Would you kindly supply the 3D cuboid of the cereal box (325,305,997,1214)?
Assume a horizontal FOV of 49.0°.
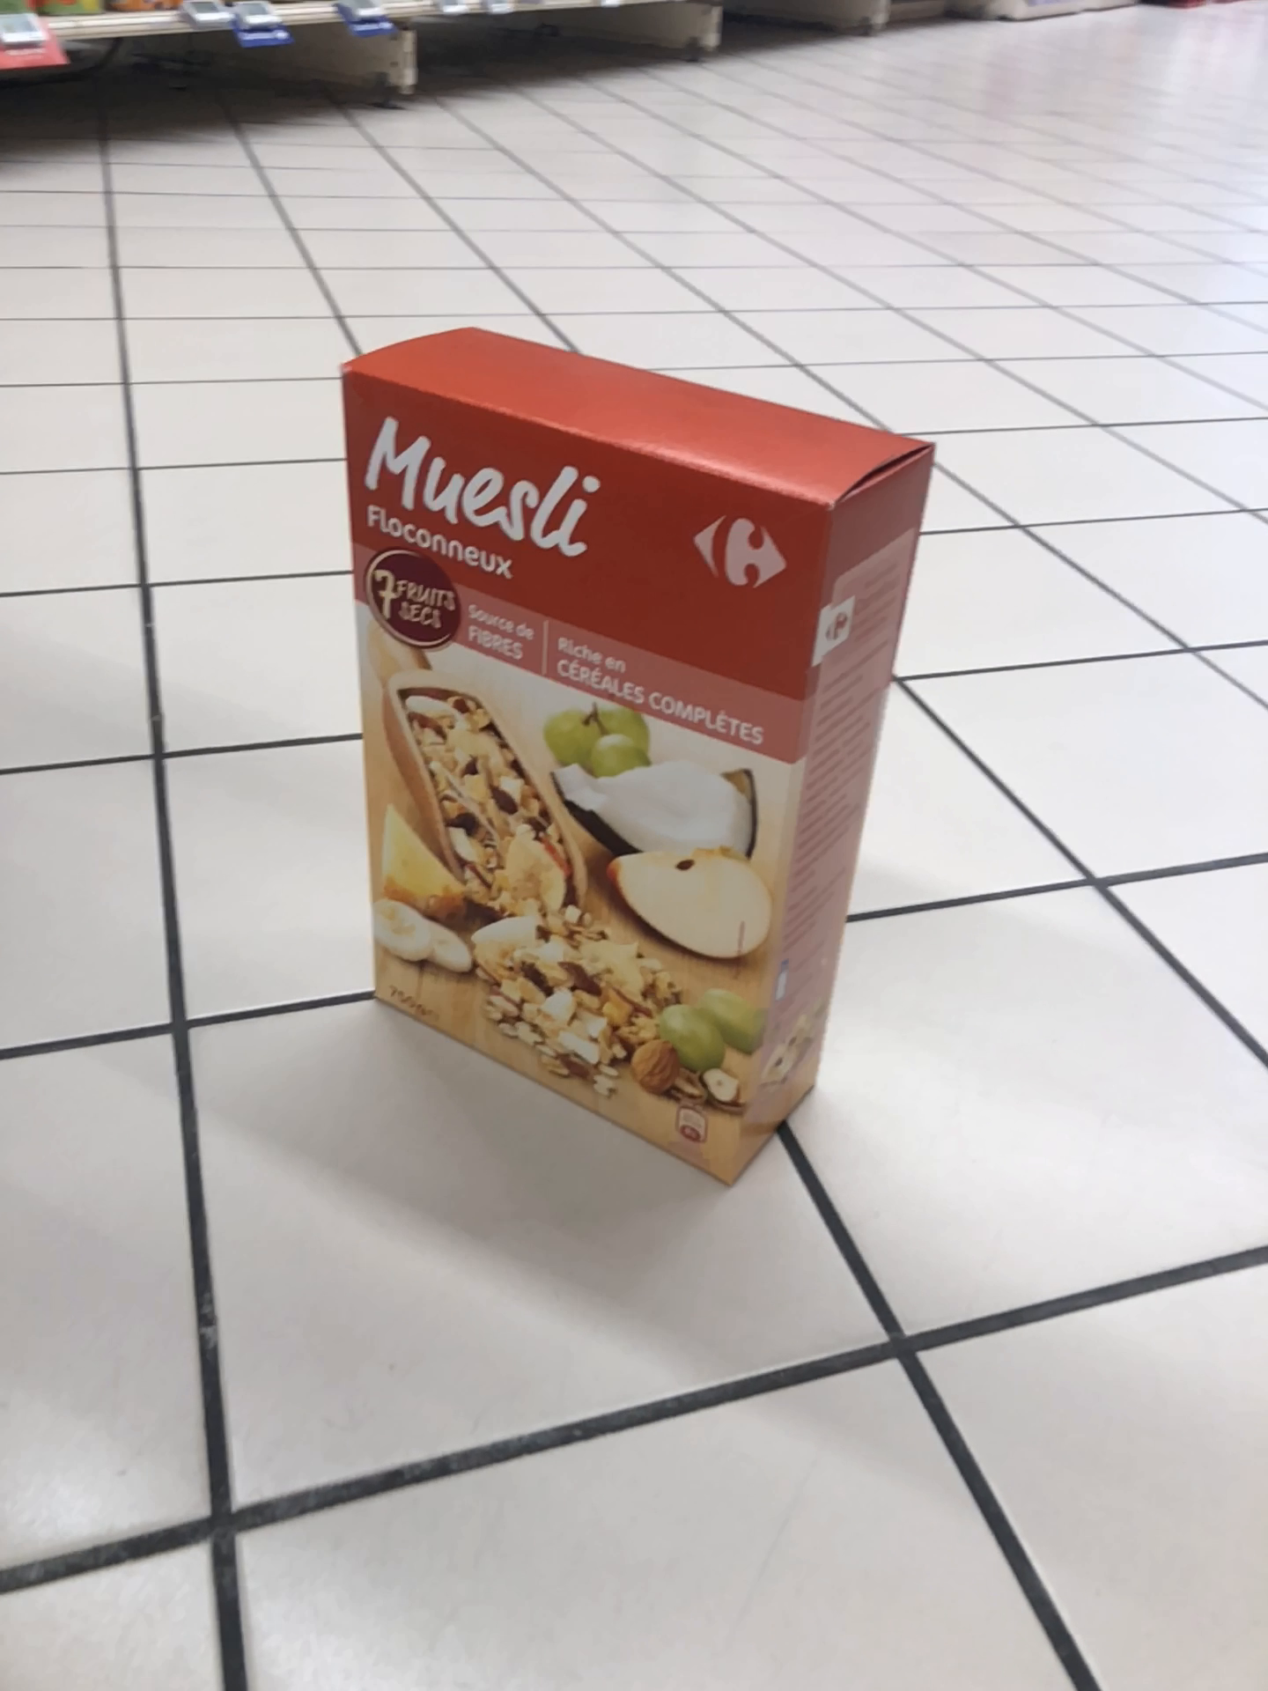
[{"bbox_3d":[-0.002,-0.028,0.450,0.170,0.238,0.081,23,38,26],"label":"cereal box"}]
